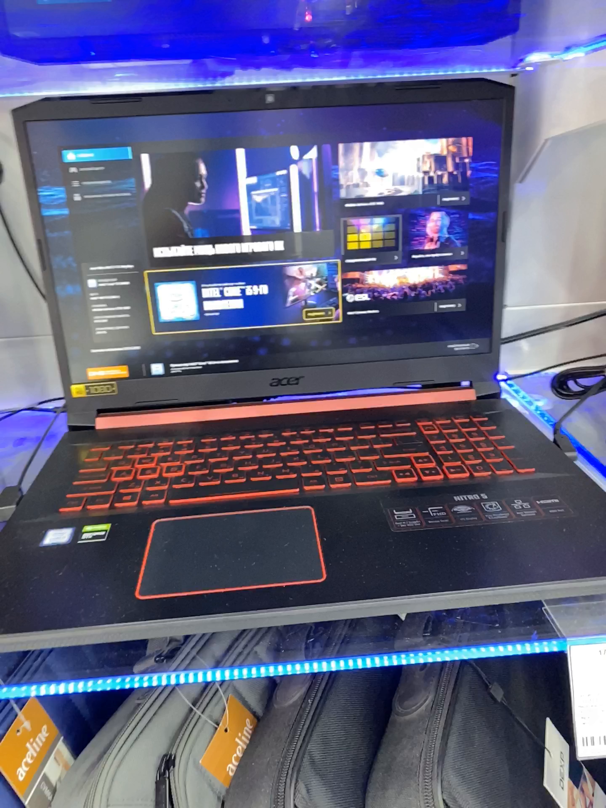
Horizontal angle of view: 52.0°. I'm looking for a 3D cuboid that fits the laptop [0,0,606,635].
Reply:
[{"bbox_3d":[-0.009,-0.072,0.416,0.406,0.267,0.285,-4,21,-4],"label":"laptop"}]
